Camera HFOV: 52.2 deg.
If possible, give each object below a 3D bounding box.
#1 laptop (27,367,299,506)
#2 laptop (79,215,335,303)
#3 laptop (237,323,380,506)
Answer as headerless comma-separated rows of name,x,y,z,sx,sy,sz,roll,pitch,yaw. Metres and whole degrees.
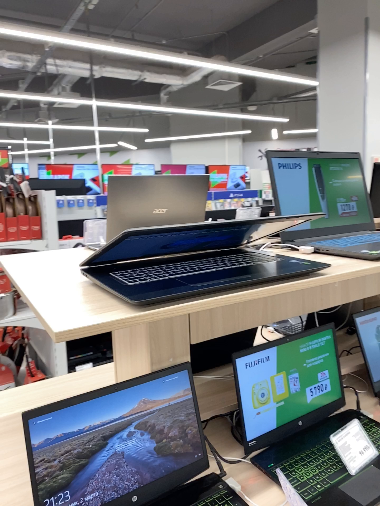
laptop,-0.055,0.392,0.664,0.343,0.220,0.315,-5,8,-33
laptop,0.029,-0.013,0.741,0.404,0.084,0.271,-7,11,-31
laptop,0.338,0.346,0.885,0.353,0.226,0.299,-7,9,-31
